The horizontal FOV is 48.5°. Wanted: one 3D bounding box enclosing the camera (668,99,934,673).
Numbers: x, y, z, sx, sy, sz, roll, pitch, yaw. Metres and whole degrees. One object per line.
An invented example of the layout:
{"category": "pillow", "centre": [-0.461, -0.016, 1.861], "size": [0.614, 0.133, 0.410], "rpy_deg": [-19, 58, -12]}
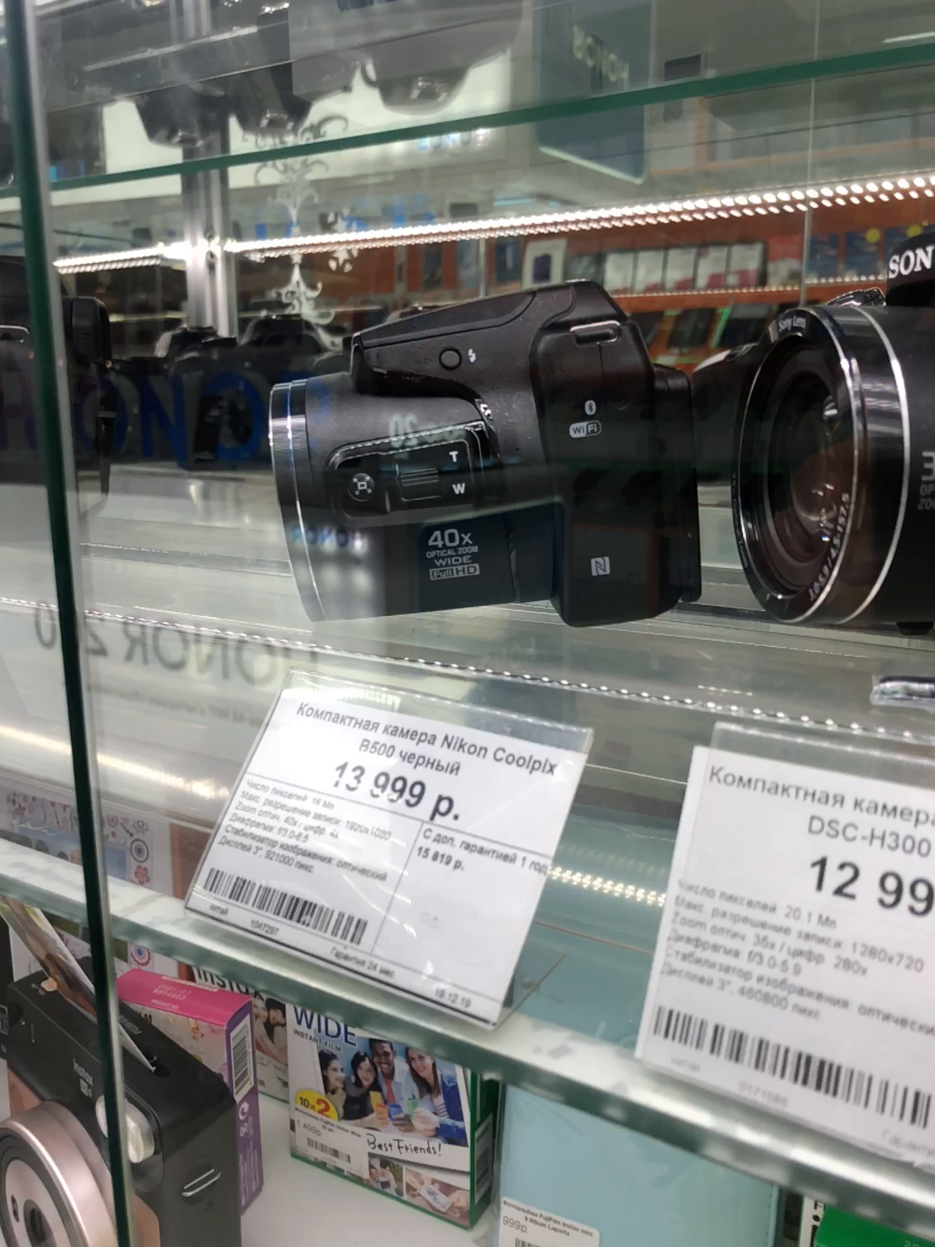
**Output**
{"category": "camera", "centre": [0.109, -0.047, 0.224], "size": [0.098, 0.085, 0.115], "rpy_deg": [-5, 10, -4]}

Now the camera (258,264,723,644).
{"category": "camera", "centre": [0.001, -0.048, 0.279], "size": [0.098, 0.080, 0.110], "rpy_deg": [-2, 12, -6]}
